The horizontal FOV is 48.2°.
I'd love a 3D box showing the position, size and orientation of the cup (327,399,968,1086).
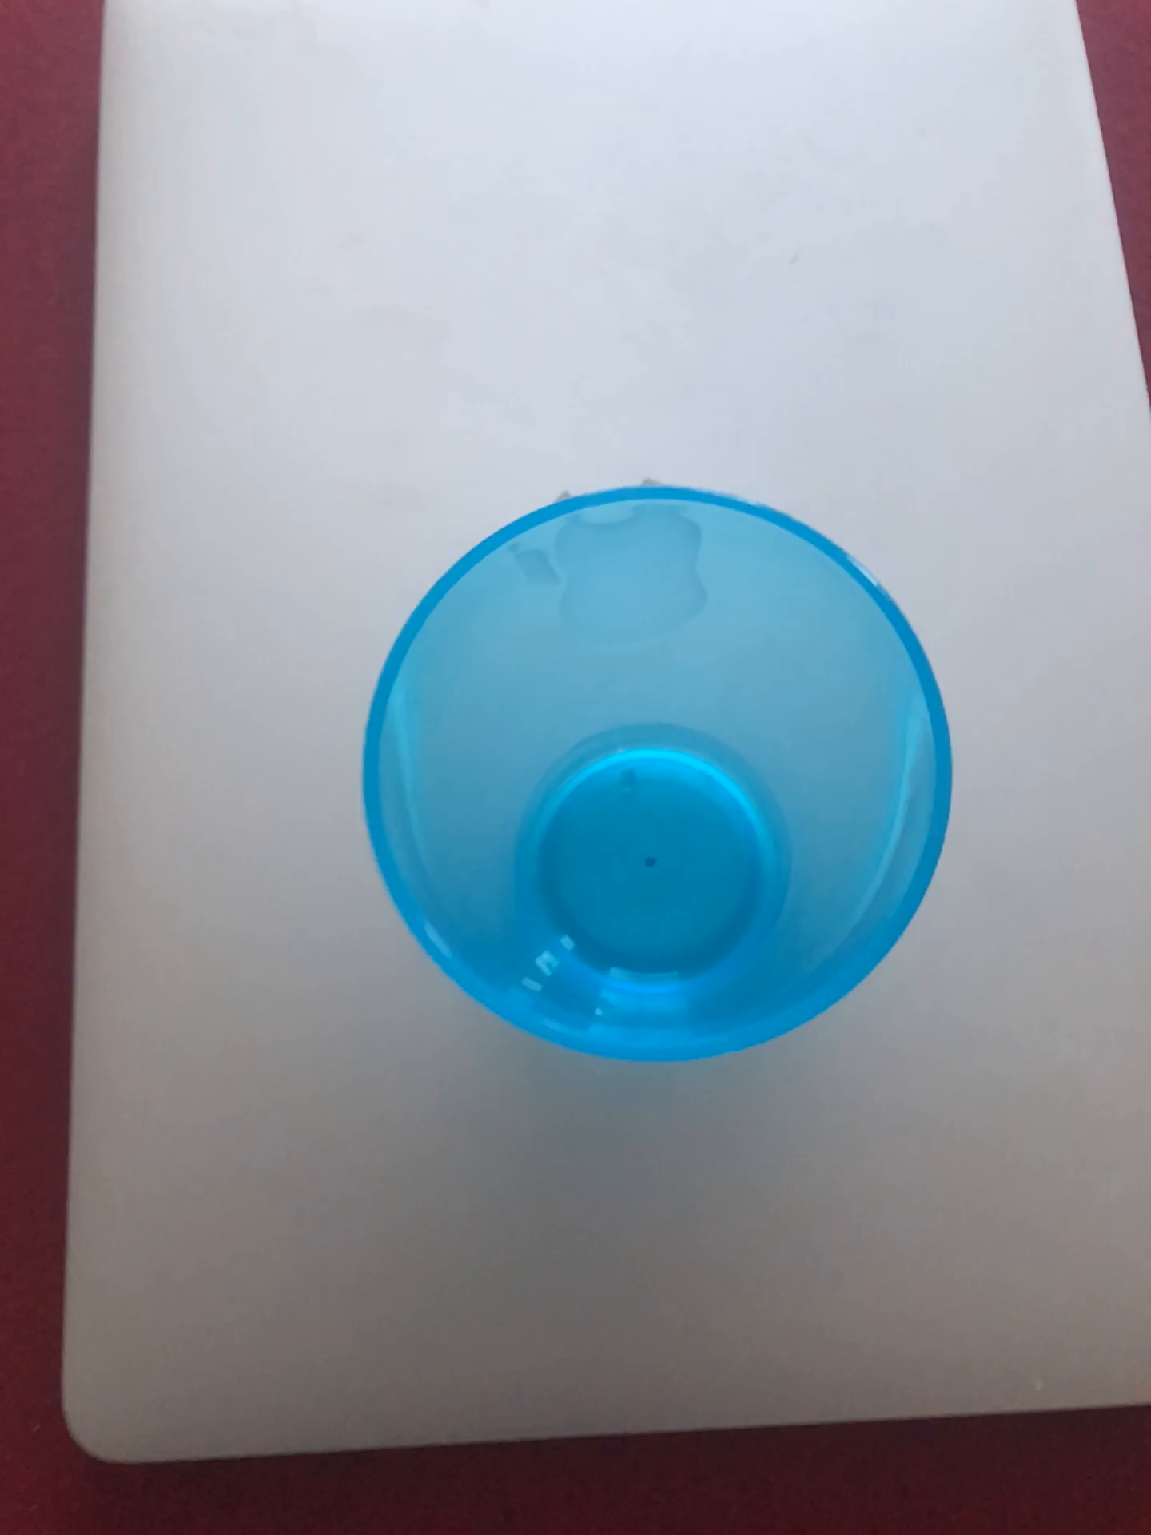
[{"bbox_3d":[0.009,0.006,0.220,0.080,0.100,0.090,-3,77,2],"label":"cup"}]
